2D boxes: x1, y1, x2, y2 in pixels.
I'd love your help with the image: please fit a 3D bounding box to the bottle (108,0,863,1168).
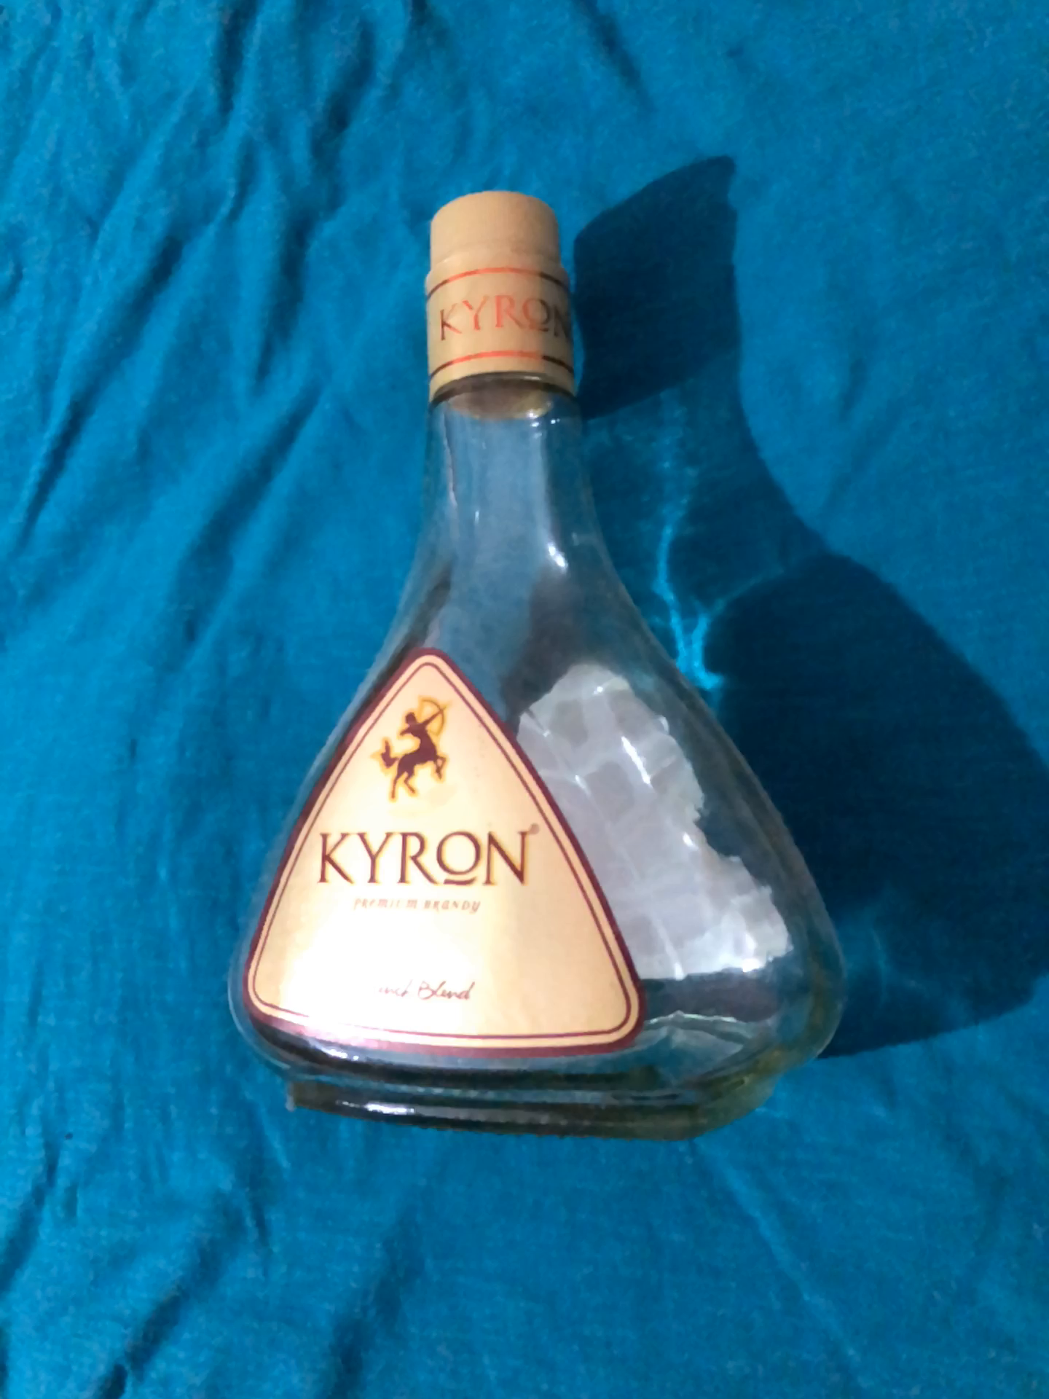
[{"bbox_3d":[-0.010,-0.017,0.225,0.120,0.060,0.180,-6,85,26],"label":"bottle"}]
